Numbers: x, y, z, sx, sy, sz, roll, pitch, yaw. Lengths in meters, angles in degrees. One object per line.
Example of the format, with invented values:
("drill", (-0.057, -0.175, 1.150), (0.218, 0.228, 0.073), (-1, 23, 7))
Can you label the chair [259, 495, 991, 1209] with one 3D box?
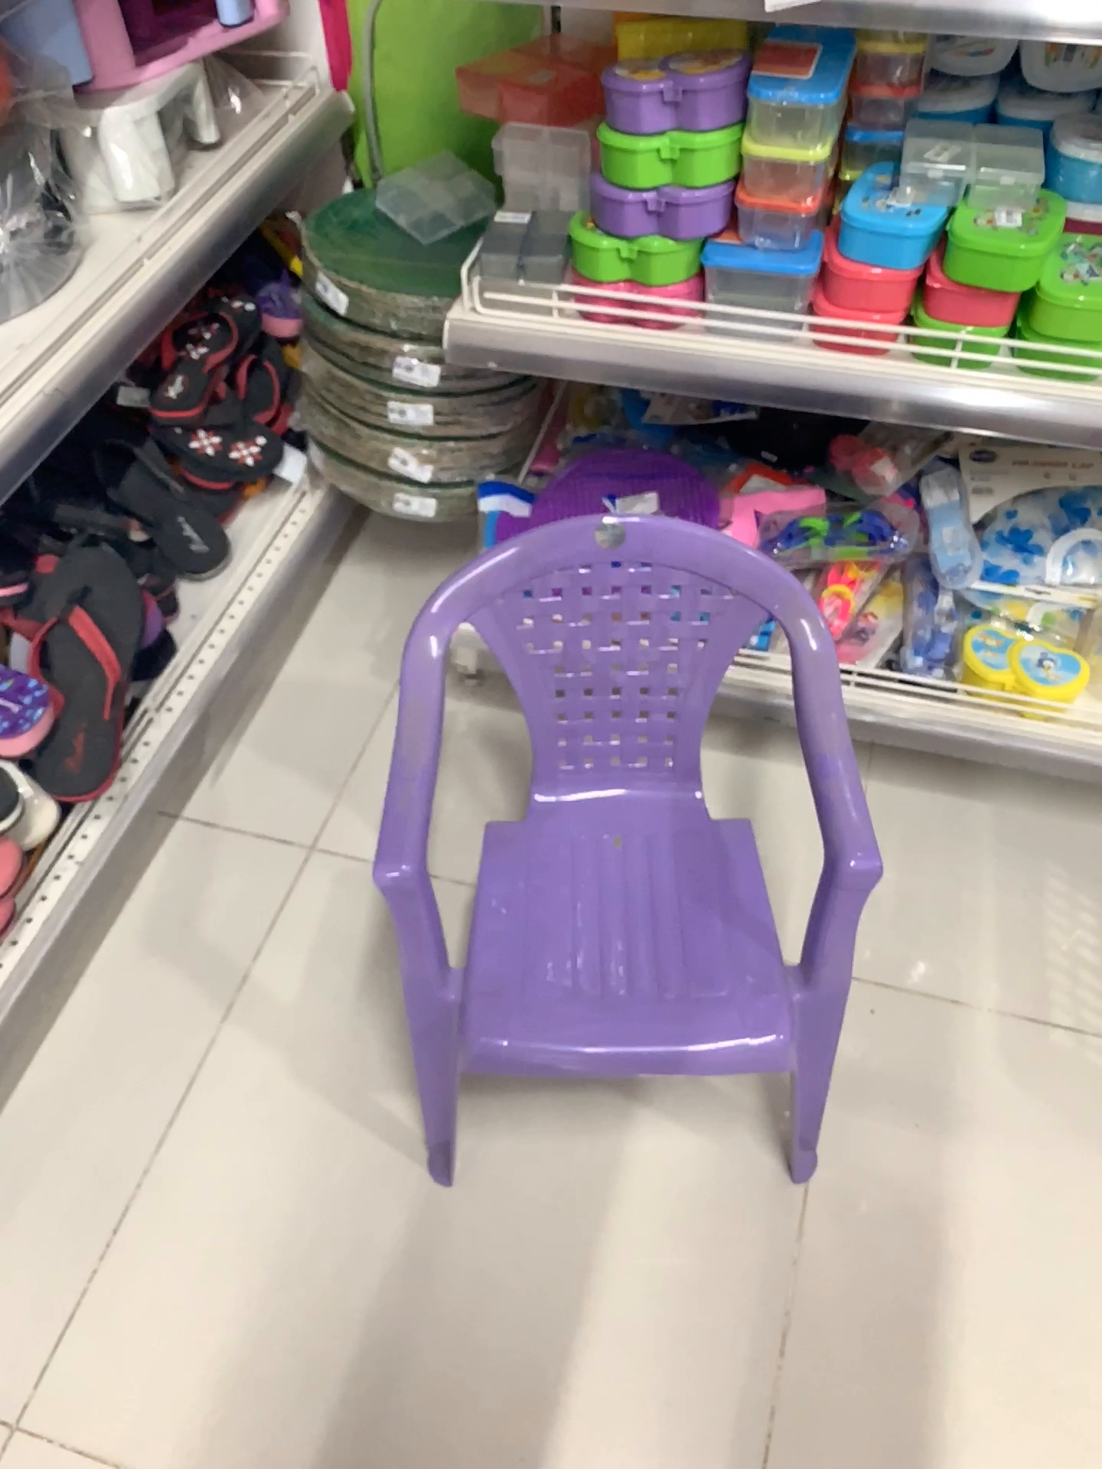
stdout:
("chair", (0.046, 0.110, 0.946), (0.420, 0.429, 0.401), (-3, 50, 1))
